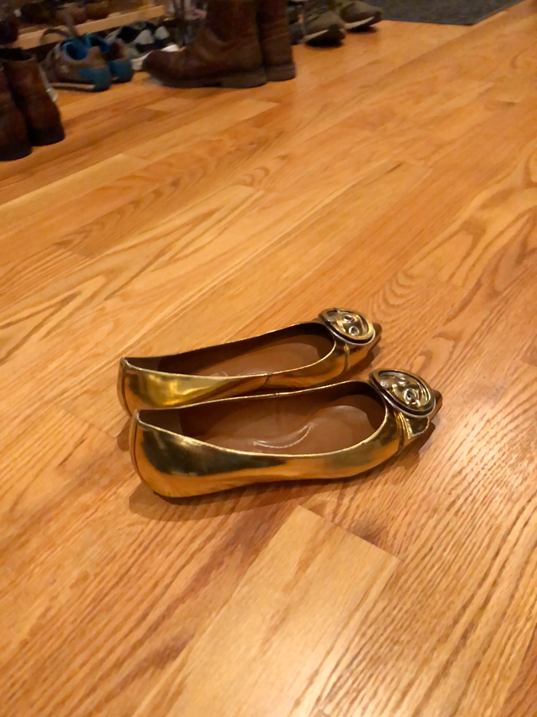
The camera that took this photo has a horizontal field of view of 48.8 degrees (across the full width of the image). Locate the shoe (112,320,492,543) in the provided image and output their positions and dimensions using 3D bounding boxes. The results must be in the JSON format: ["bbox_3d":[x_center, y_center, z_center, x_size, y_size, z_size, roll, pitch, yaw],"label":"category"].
[{"bbox_3d":[0.023,0.046,0.426,0.249,0.066,0.077,-13,39,-12],"label":"shoe"}]

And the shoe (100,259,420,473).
[{"bbox_3d":[-0.002,-0.003,0.490,0.244,0.066,0.083,-20,41,-20],"label":"shoe"}]
